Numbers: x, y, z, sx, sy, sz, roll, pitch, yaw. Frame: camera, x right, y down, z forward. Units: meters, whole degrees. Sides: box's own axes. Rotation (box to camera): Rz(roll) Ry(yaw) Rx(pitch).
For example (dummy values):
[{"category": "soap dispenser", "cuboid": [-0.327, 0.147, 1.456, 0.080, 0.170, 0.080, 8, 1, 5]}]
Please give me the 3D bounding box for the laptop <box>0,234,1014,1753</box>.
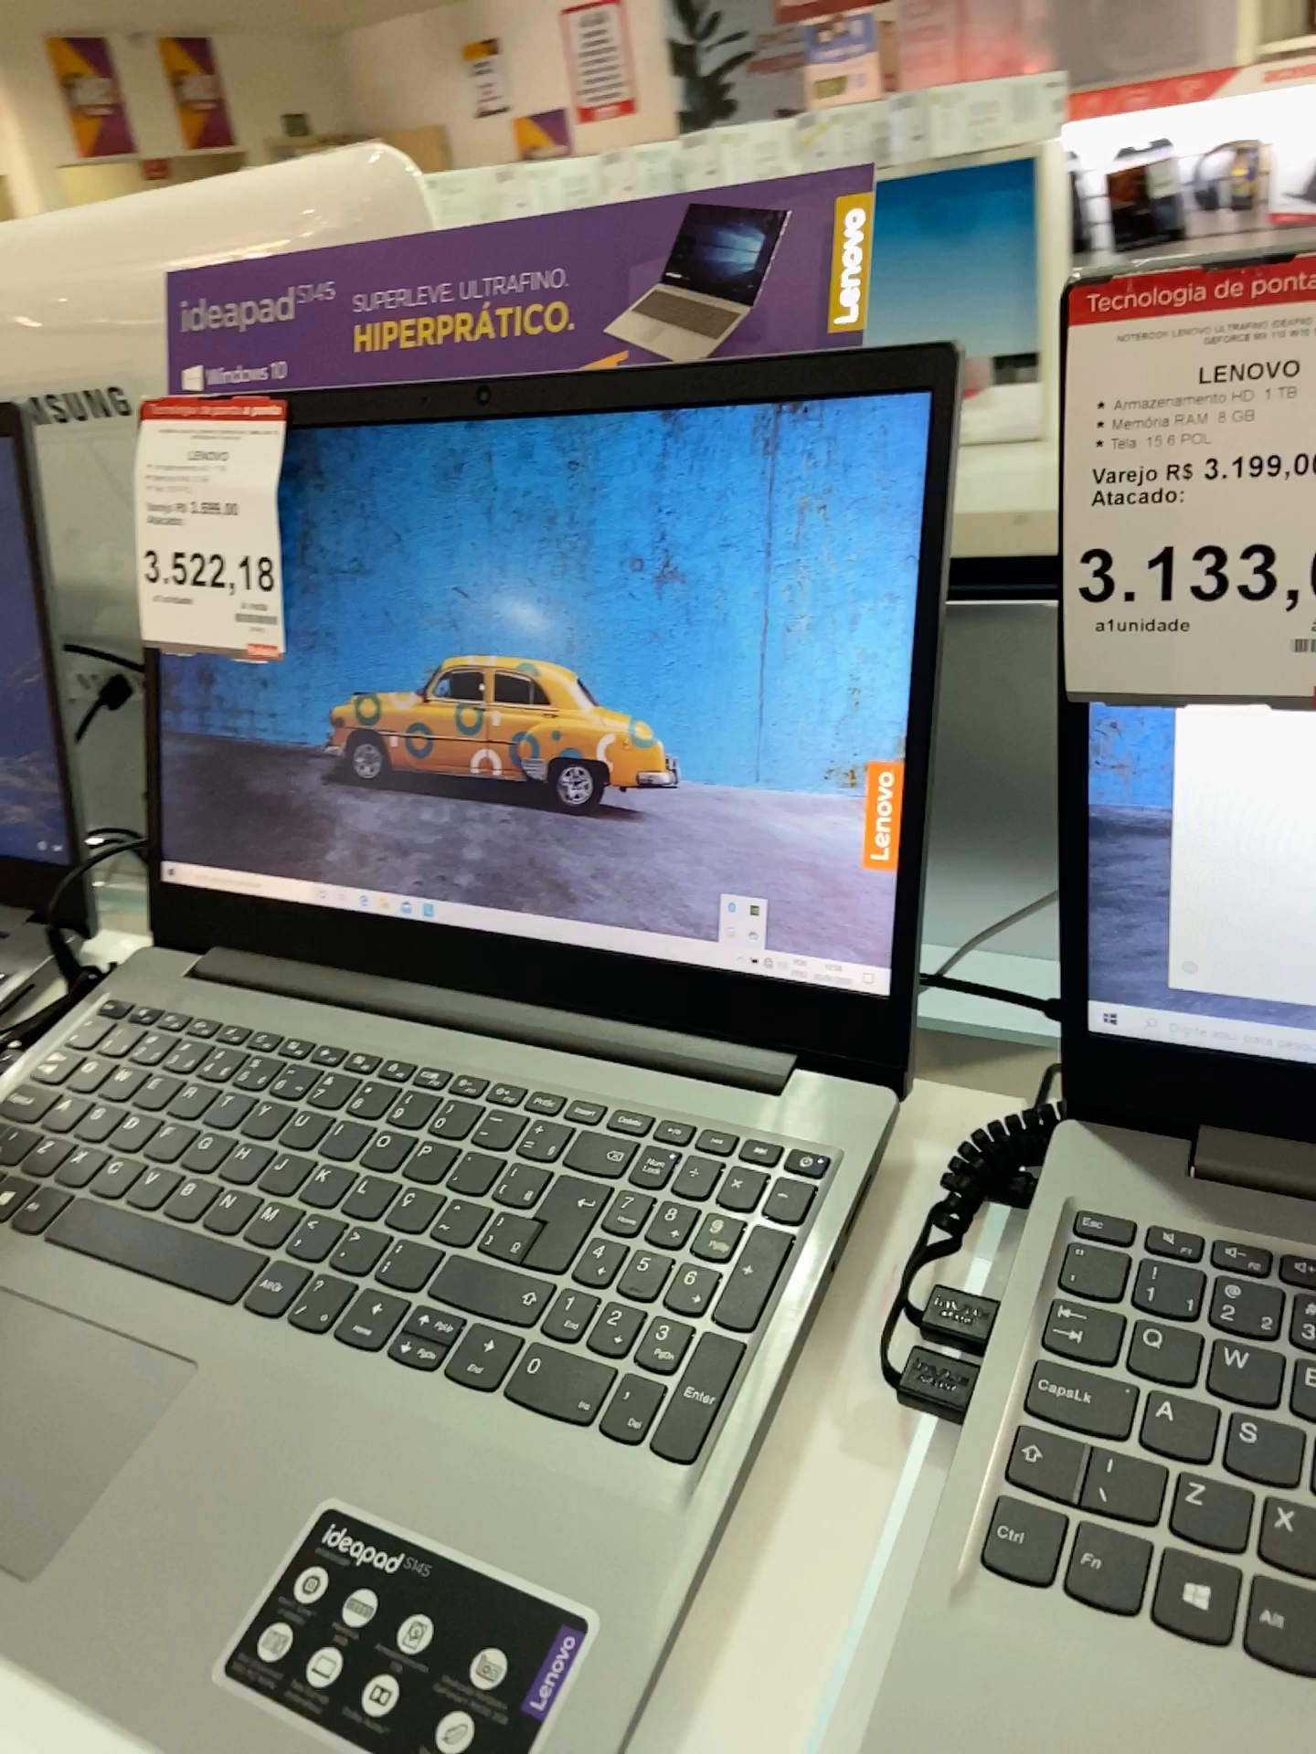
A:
[{"category": "laptop", "cuboid": [-0.114, -0.010, 0.425, 0.346, 0.209, 0.366, 6, 38, 29]}]
